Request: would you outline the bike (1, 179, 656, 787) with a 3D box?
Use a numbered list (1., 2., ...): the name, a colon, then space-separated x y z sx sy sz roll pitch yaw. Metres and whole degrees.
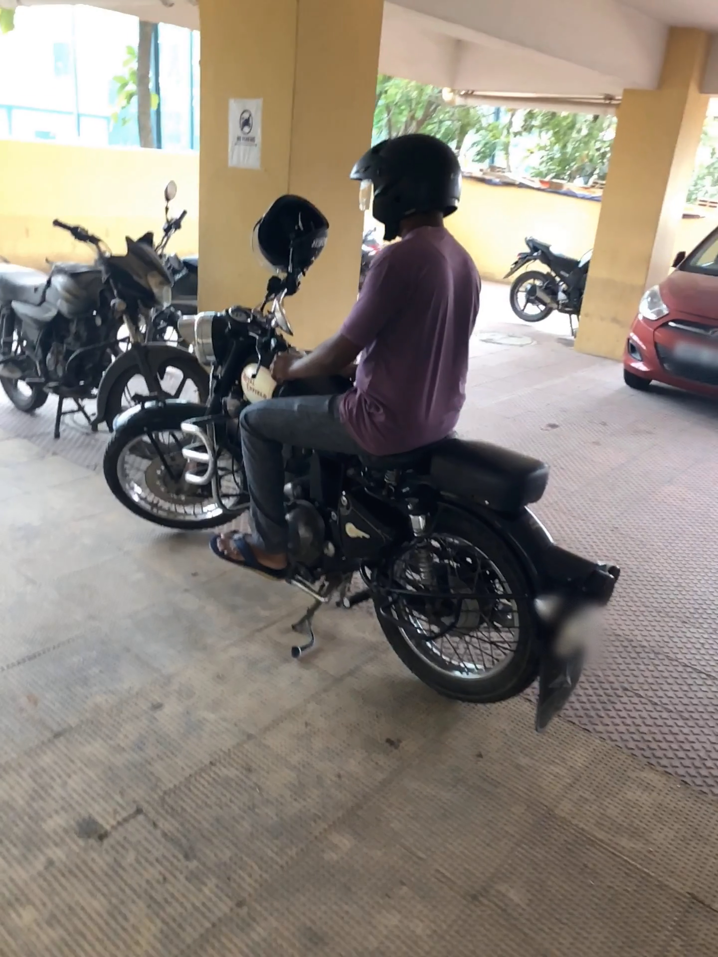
1. bike: -0.183 -0.142 2.477 1.764 1.097 0.728 24 28 27
